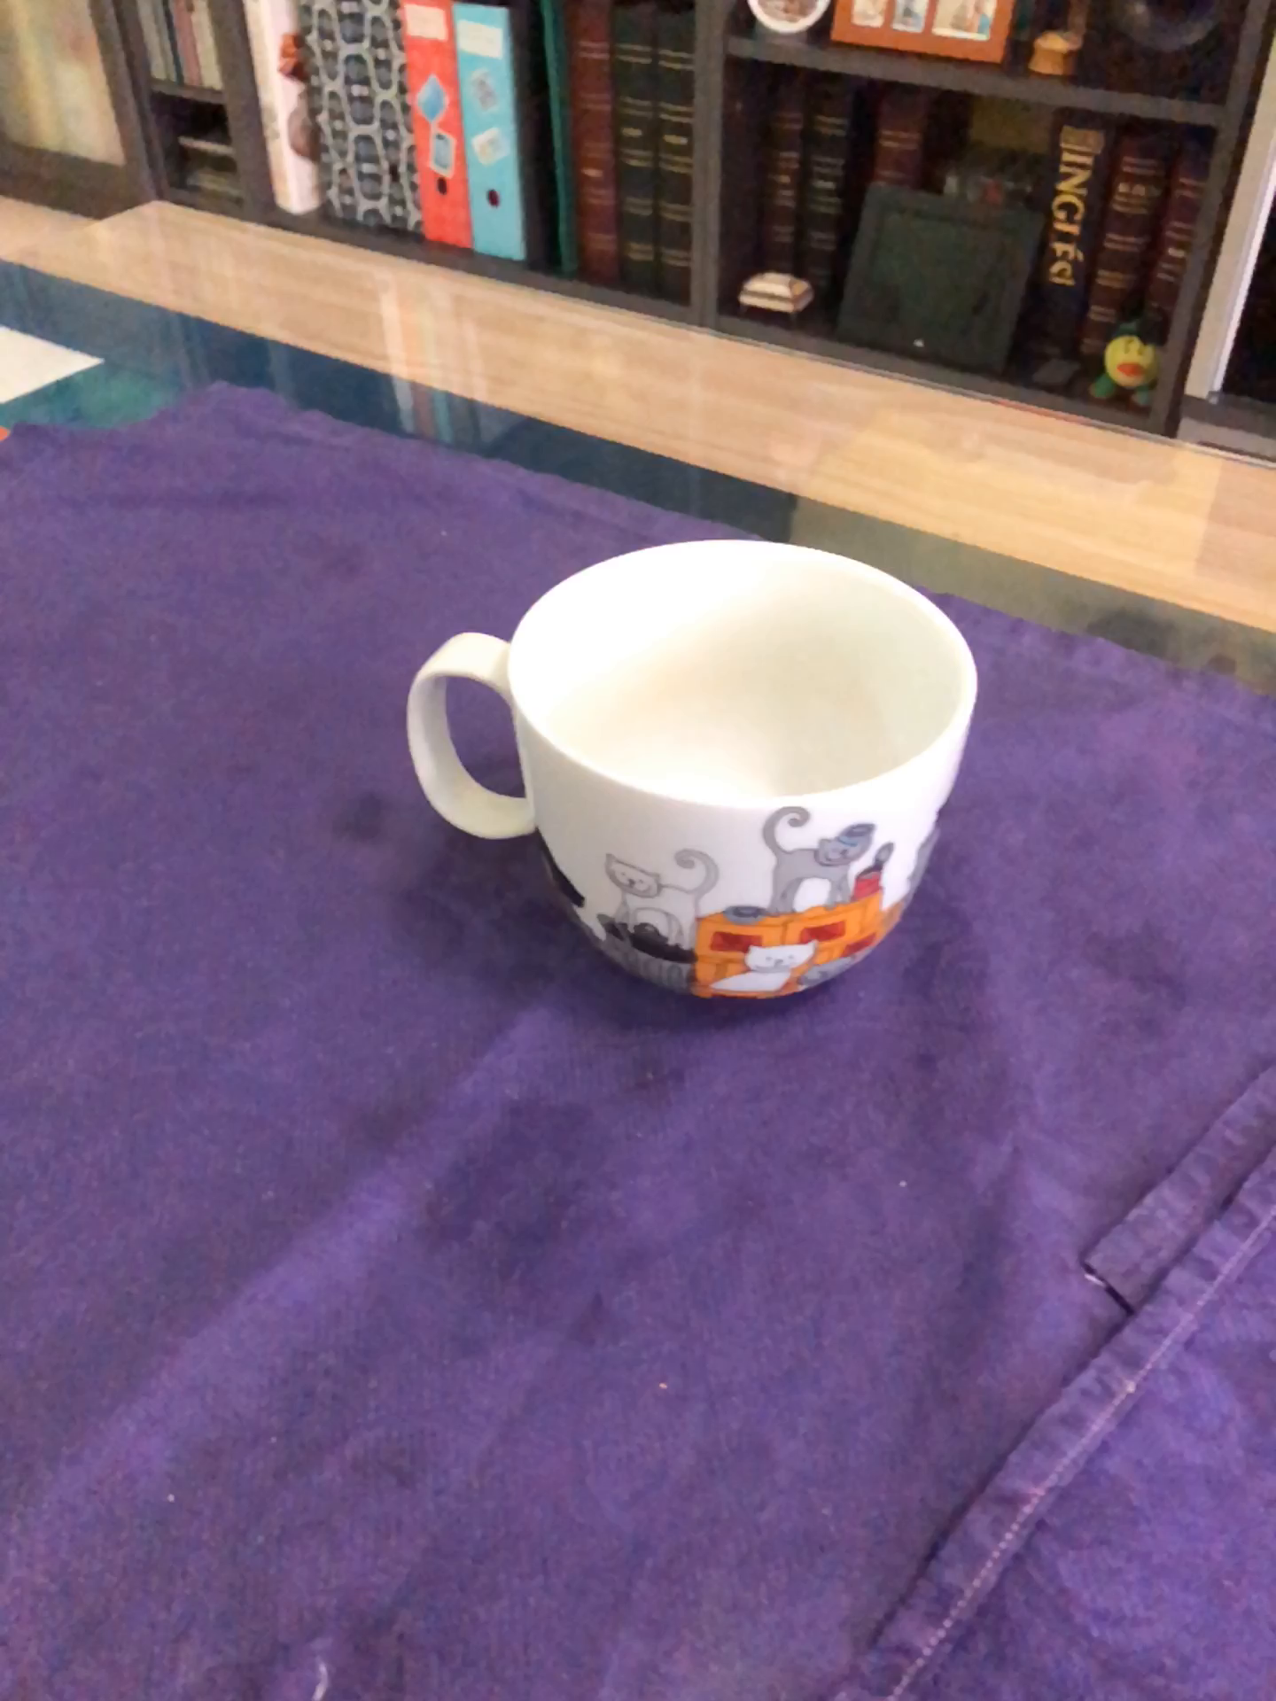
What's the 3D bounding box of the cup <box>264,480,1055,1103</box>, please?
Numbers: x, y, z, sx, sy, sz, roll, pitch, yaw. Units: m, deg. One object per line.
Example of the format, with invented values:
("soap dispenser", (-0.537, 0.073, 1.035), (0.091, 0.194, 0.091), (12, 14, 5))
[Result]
("cup", (0.008, -0.019, 0.316), (0.140, 0.070, 0.090), (14, 44, 17))
